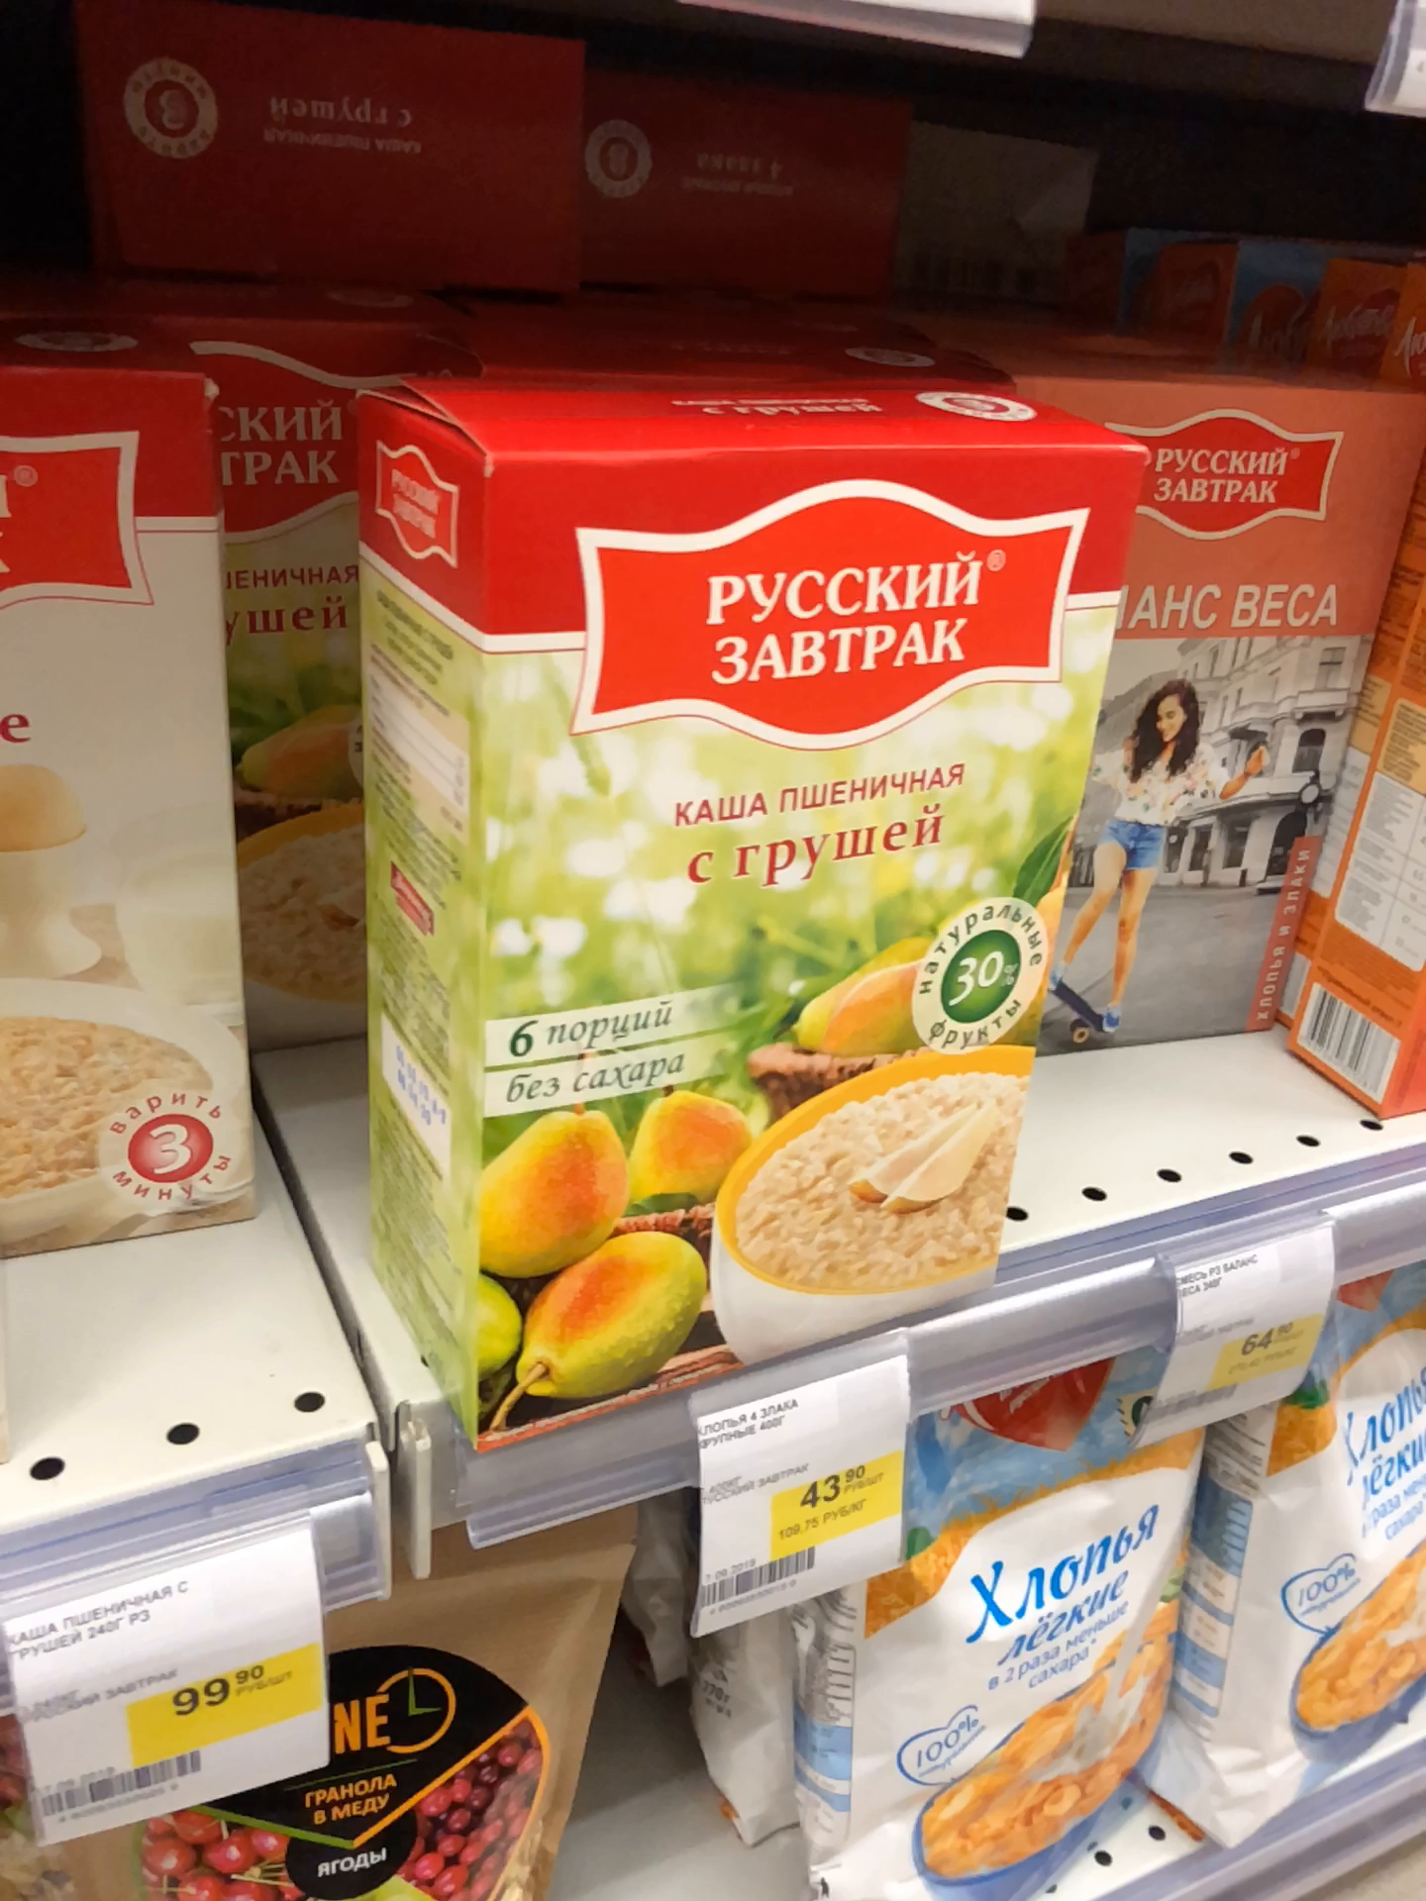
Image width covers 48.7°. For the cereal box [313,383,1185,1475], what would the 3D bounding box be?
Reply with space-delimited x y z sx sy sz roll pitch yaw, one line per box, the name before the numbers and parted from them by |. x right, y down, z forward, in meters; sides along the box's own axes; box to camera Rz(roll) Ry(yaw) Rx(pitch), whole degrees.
cereal box | 0.001 -0.008 0.314 0.140 0.189 0.060 -10 29 -27
